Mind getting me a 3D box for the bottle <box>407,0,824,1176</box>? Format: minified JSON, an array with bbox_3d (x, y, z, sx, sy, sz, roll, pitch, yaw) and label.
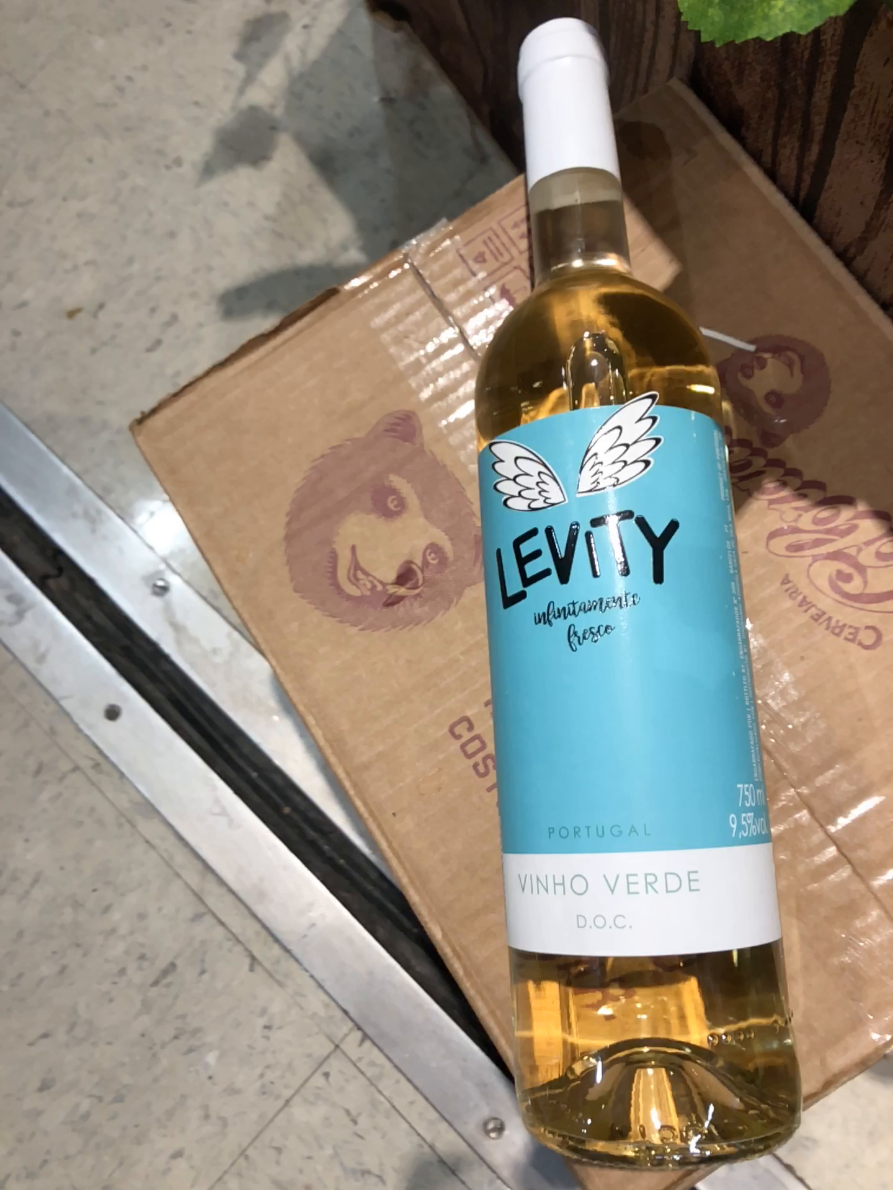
[{"bbox_3d":[0.040,-0.030,0.282,0.080,0.050,0.340,-4,79,7],"label":"bottle"}]
